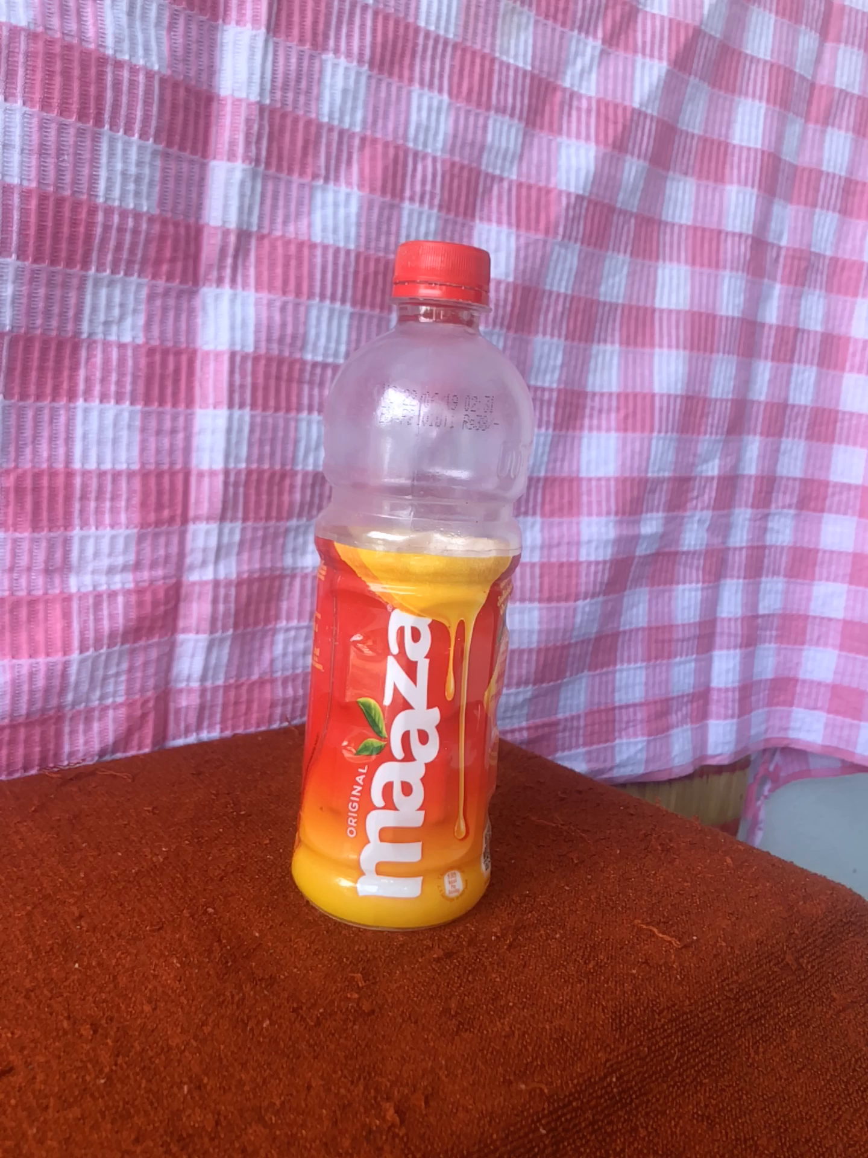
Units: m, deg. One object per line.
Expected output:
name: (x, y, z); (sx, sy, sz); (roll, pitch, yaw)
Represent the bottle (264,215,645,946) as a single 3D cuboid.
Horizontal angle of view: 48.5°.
bottle: (-0.002, 0.003, 0.313); (0.080, 0.209, 0.070); (6, 10, -14)
